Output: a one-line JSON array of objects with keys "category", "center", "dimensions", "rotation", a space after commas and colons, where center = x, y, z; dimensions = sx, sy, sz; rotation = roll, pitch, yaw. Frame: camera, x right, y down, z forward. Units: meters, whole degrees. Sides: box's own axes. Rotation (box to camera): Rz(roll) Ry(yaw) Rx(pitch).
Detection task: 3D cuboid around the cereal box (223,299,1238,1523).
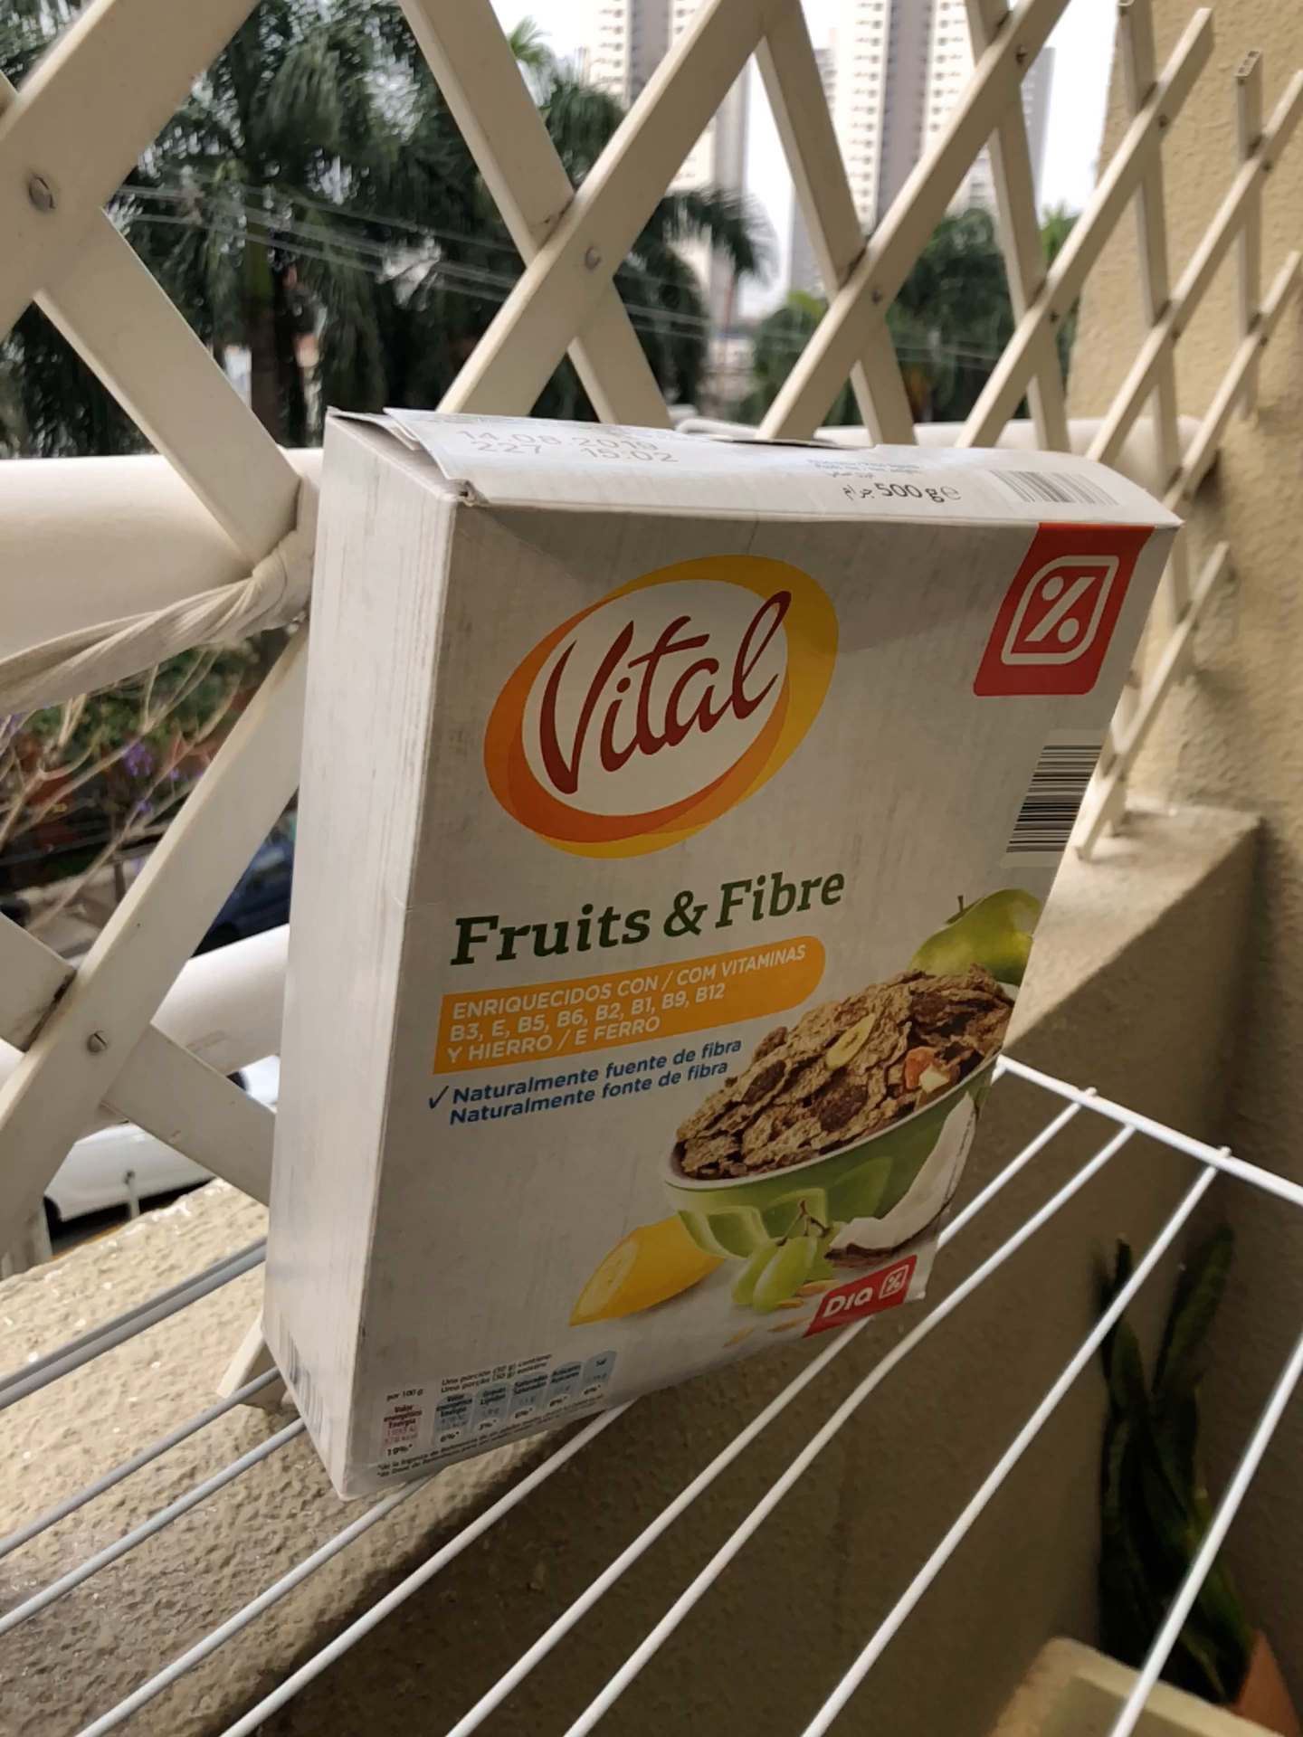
[{"category": "cereal box", "center": [0.010, 0.012, 0.371], "dimensions": [0.210, 0.268, 0.070], "rotation": [-7, 31, -31]}]
